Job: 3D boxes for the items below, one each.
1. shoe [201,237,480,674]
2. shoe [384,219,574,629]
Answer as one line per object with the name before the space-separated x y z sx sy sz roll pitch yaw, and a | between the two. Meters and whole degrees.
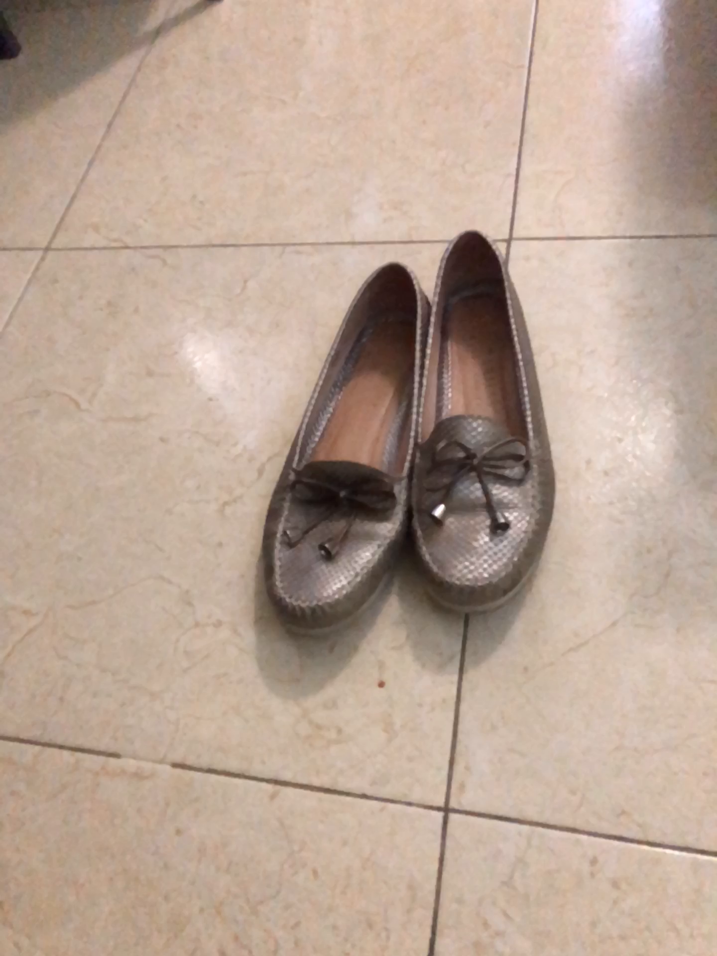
shoe | 0.003 -0.030 0.547 0.100 0.080 0.300 9 61 17
shoe | 0.080 -0.043 0.519 0.100 0.080 0.271 -2 58 11
